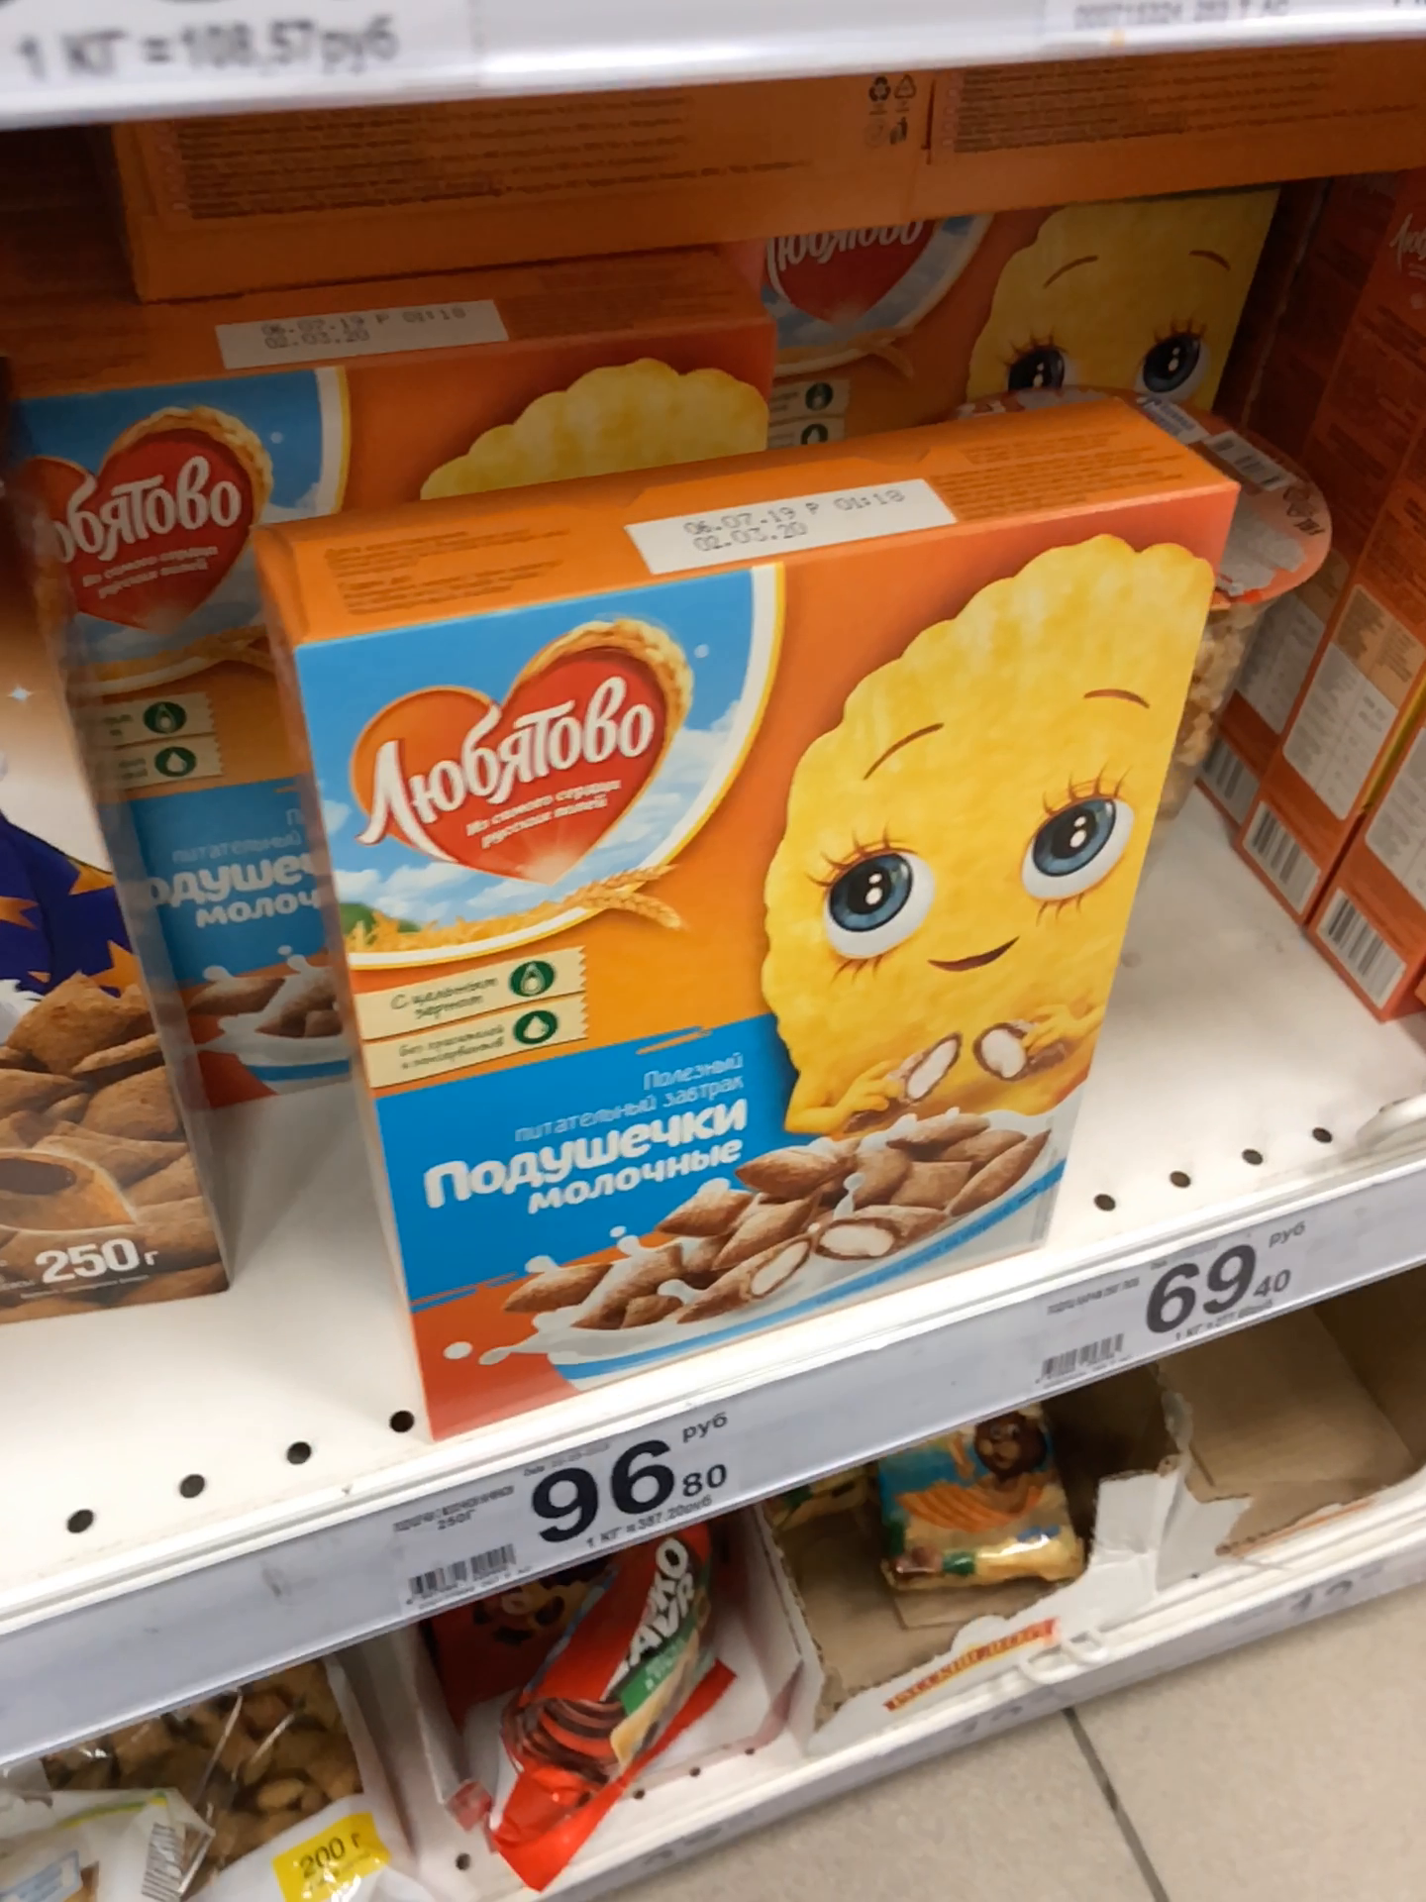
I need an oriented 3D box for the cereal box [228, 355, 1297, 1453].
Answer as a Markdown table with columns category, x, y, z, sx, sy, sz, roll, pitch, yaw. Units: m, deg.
| category | x | y | z | sx | sy | sz | roll | pitch | yaw |
| --- | --- | --- | --- | --- | --- | --- | --- | --- | --- |
| cereal box | 0.007 | 0.001 | 0.350 | 0.180 | 0.229 | 0.050 | -14 | 45 | -18 |
